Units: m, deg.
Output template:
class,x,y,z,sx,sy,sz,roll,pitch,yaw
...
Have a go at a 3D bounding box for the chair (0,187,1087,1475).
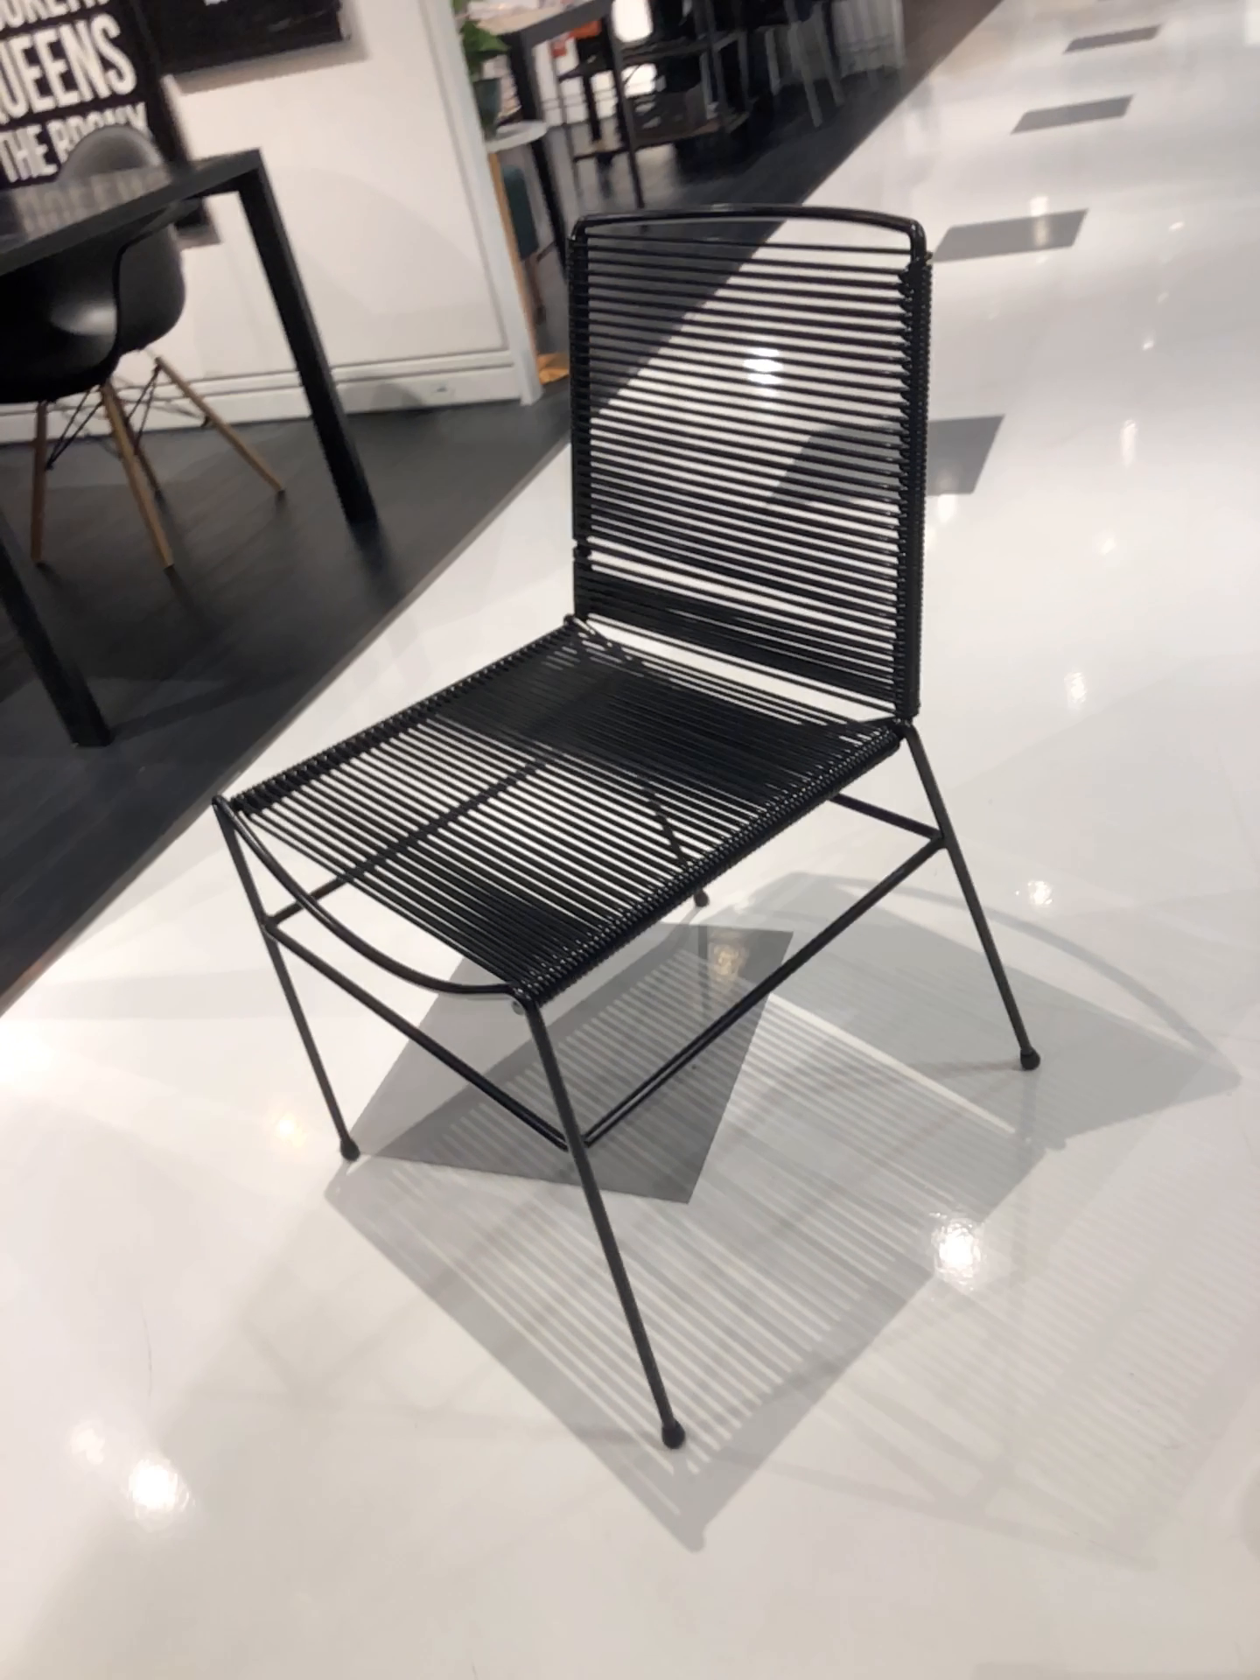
class,x,y,z,sx,sy,sz,roll,pitch,yaw
chair,-0.011,-0.050,1.189,0.582,0.794,0.523,-35,39,-28
